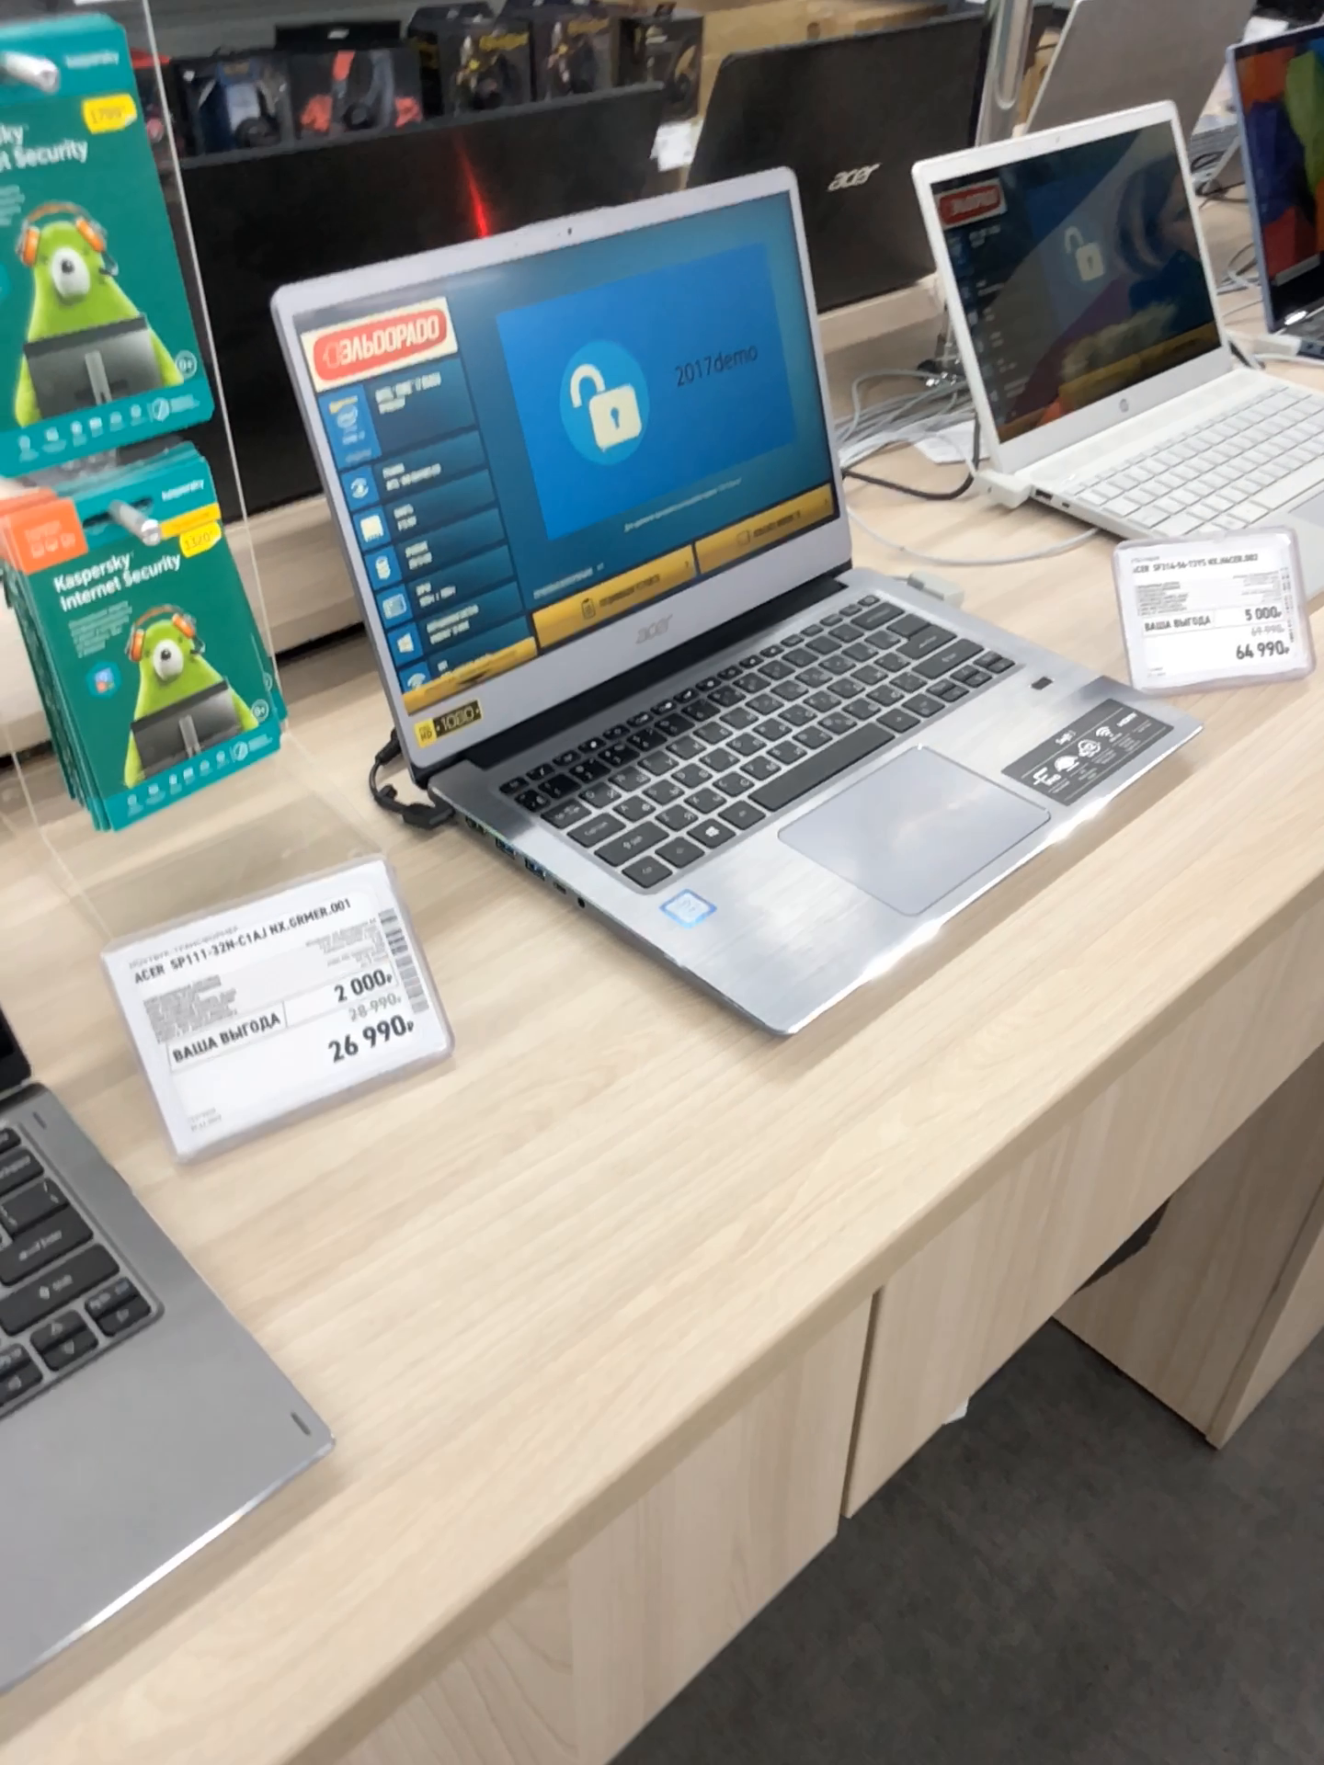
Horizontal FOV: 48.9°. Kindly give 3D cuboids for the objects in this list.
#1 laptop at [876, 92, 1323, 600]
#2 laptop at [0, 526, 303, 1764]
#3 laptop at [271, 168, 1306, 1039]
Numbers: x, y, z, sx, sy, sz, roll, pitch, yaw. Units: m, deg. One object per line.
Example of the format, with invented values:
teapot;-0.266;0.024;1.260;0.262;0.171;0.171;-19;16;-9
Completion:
laptop;0.372;-0.377;0.968;0.306;0.164;0.322;-31;51;-33
laptop;-0.304;0.084;0.374;0.280;0.159;0.312;-29;50;-33
laptop;0.054;-0.160;0.667;0.316;0.197;0.303;-31;51;-34
